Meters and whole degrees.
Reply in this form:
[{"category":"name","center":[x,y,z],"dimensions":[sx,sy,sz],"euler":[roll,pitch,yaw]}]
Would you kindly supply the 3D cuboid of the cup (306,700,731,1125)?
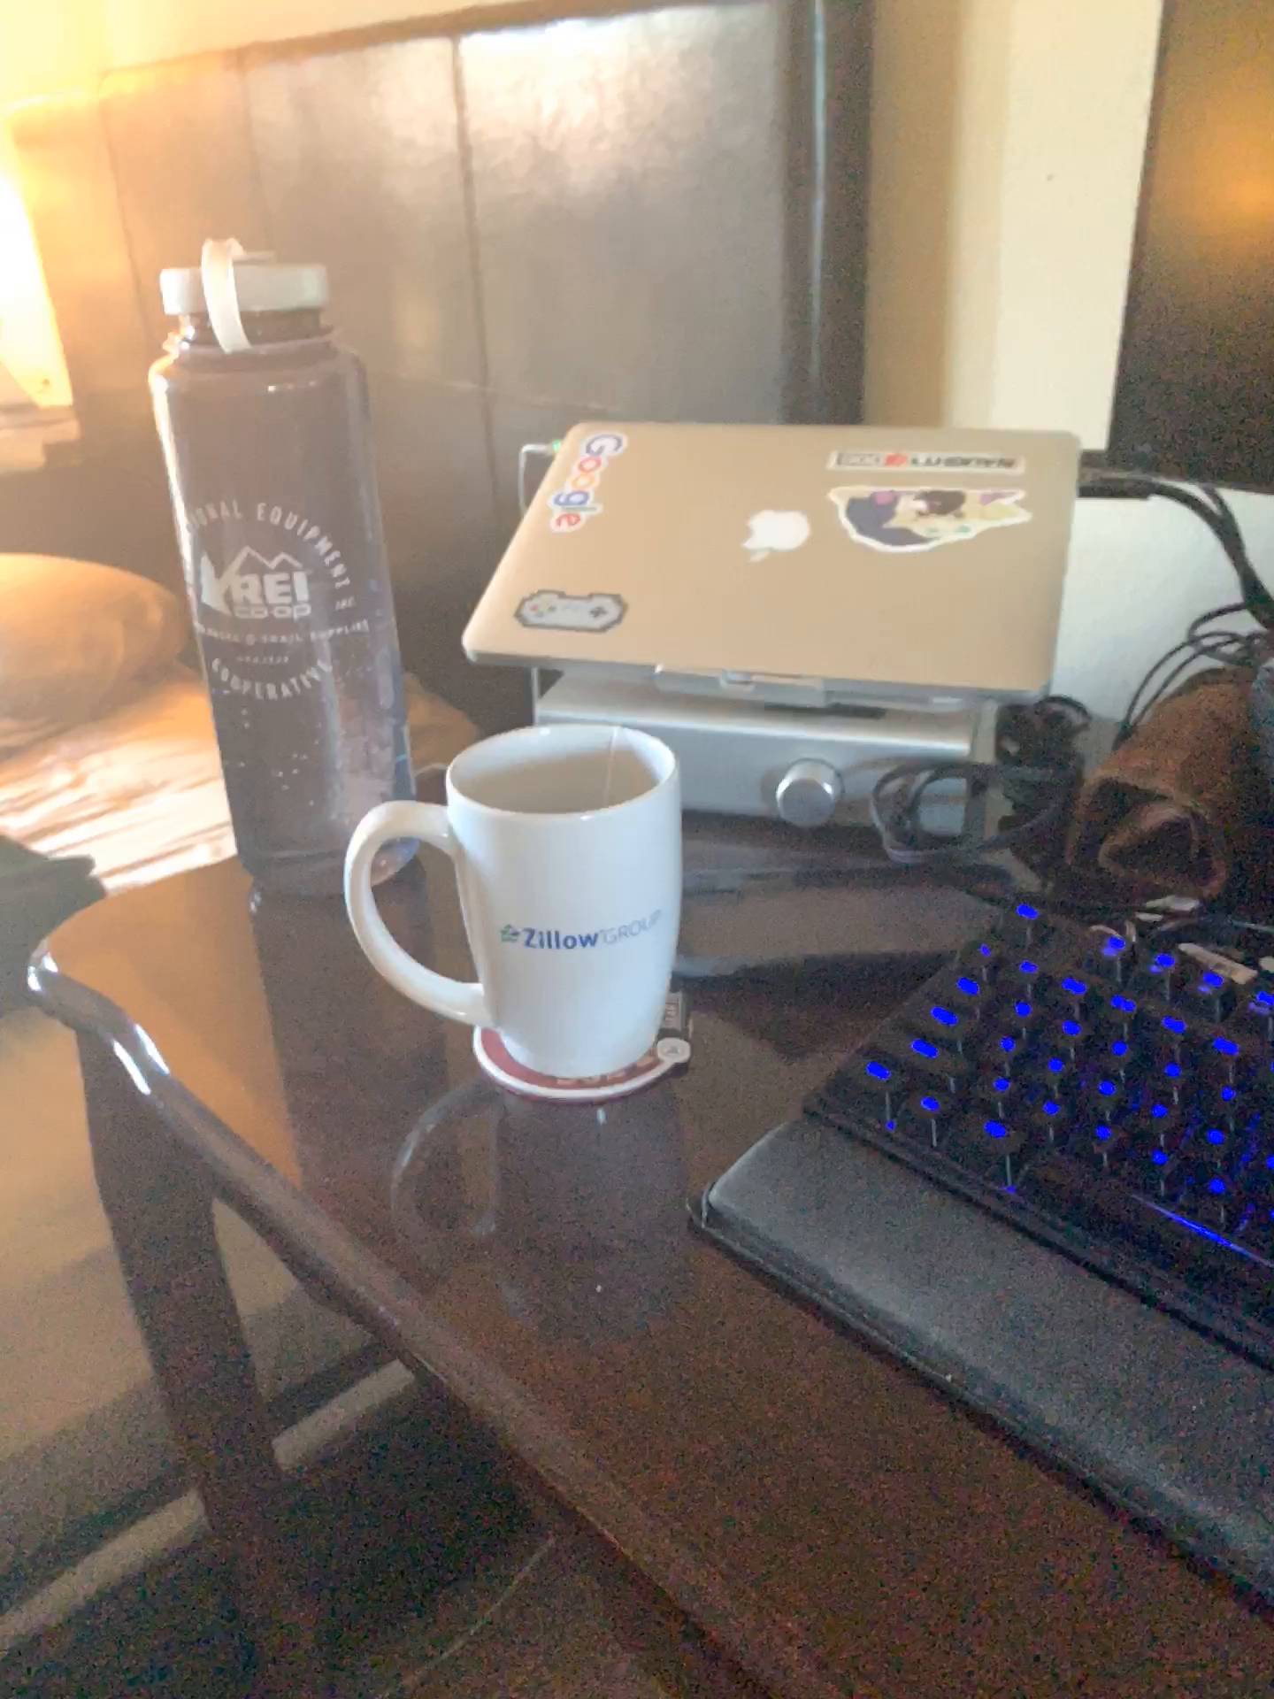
[{"category":"cup","center":[-0.045,0.018,0.495],"dimensions":[0.130,0.099,0.101],"euler":[-11,29,-16]}]
